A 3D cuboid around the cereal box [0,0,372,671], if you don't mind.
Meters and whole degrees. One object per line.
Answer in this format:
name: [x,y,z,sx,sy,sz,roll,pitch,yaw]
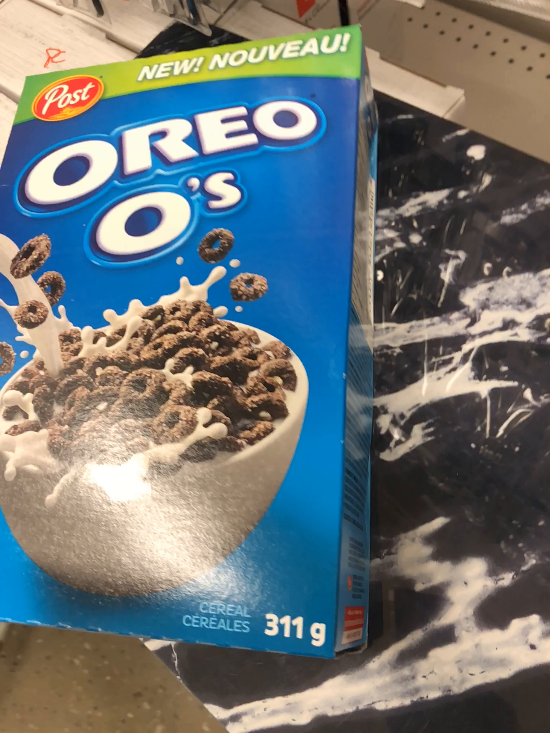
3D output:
cereal box: [-0.066,-0.030,0.305,0.210,0.070,0.300,0,67,14]
